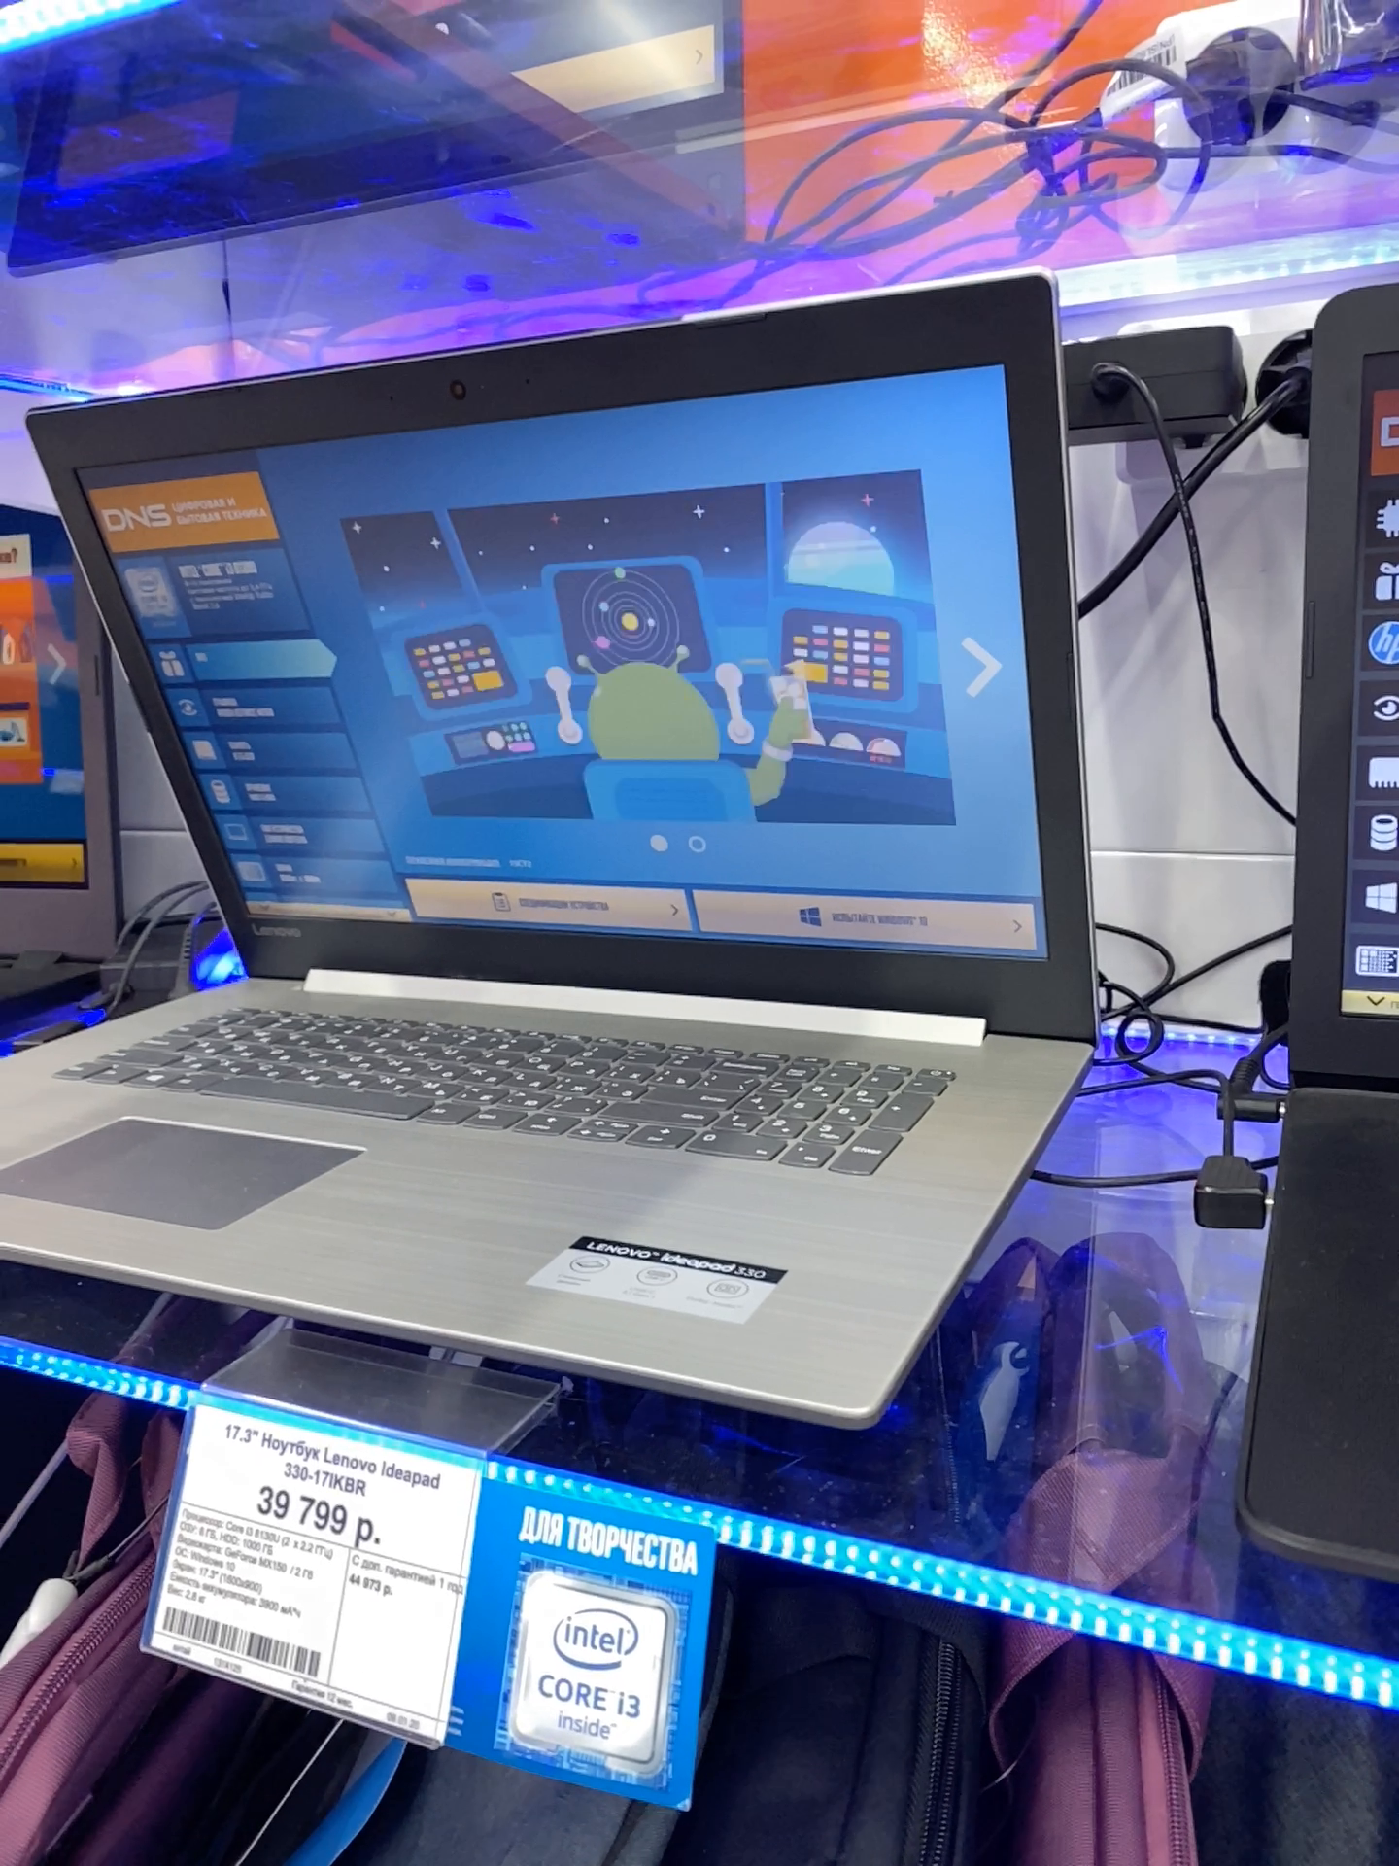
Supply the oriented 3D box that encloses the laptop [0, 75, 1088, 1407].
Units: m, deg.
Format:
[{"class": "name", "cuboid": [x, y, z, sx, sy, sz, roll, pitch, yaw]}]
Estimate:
[{"class": "laptop", "cuboid": [-0.103, -0.065, 0.490, 0.417, 0.257, 0.279, 2, 12, 24]}]
